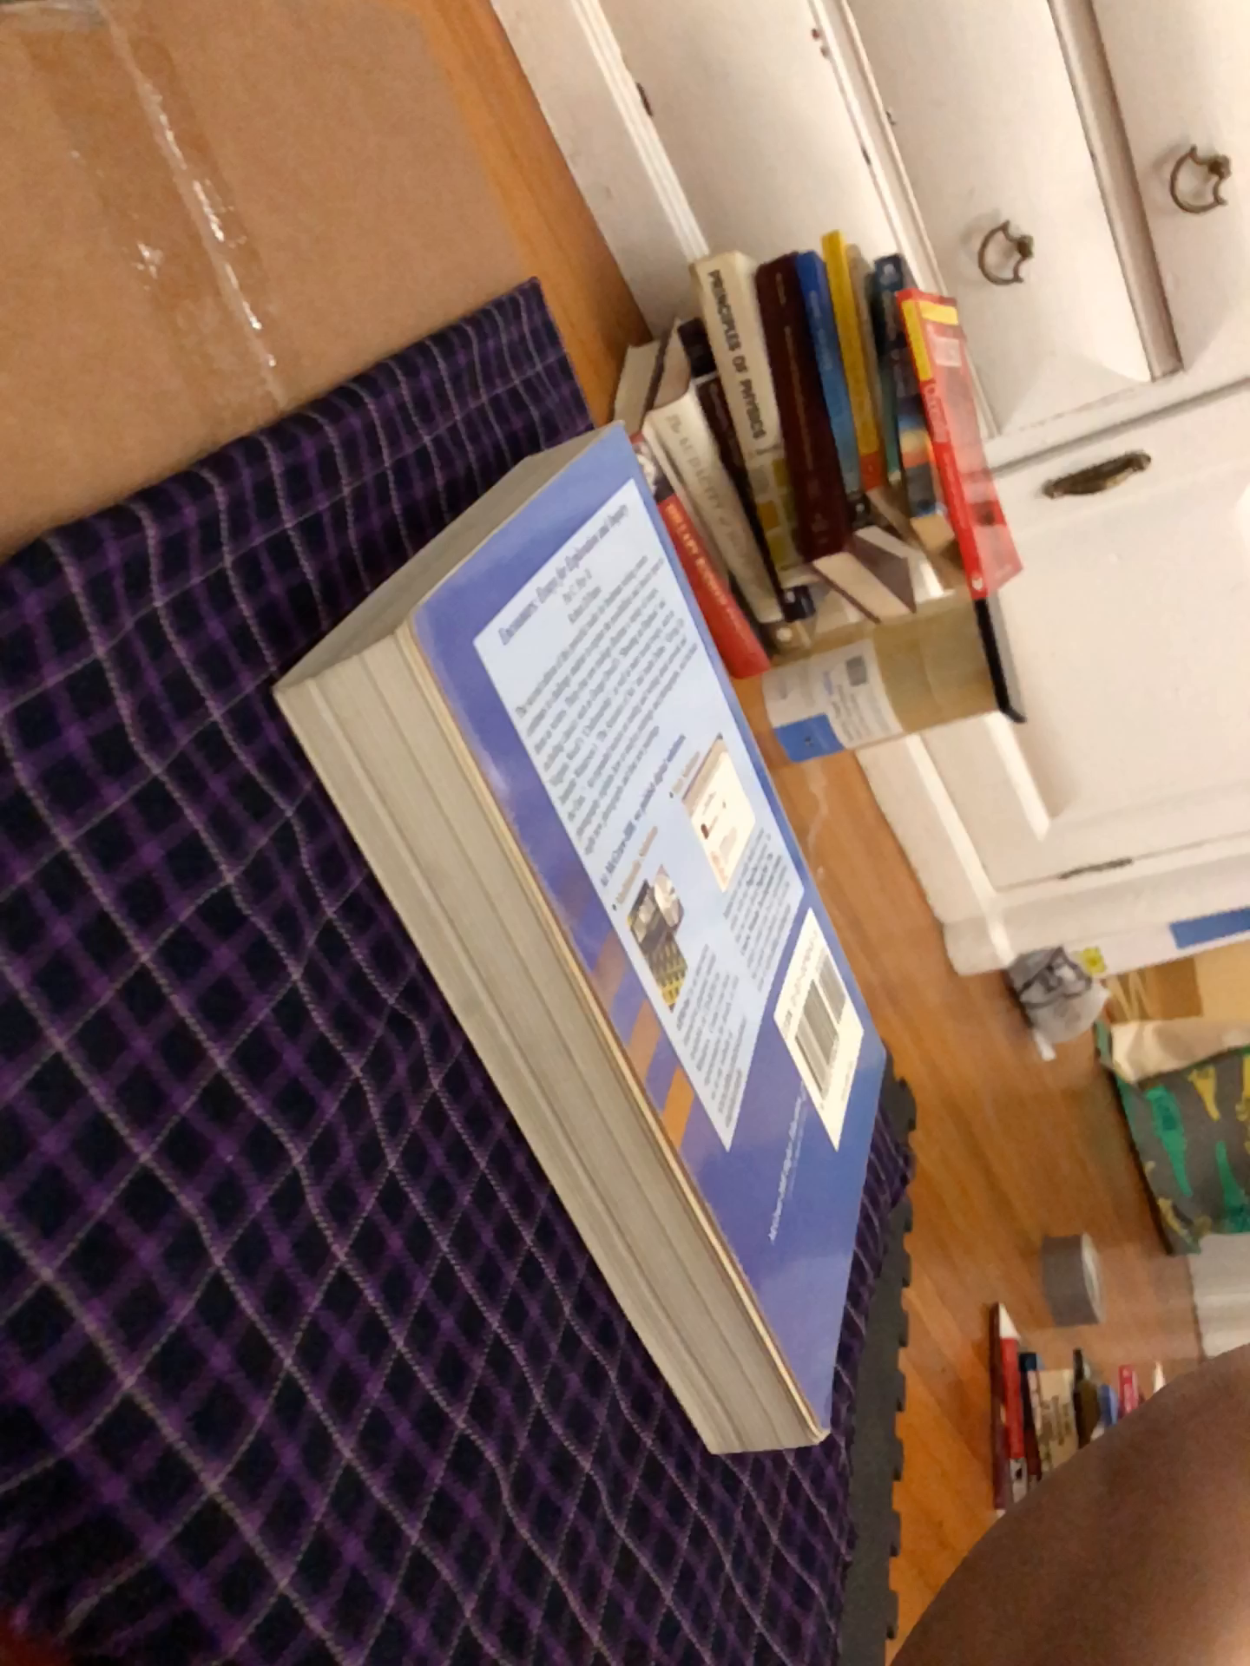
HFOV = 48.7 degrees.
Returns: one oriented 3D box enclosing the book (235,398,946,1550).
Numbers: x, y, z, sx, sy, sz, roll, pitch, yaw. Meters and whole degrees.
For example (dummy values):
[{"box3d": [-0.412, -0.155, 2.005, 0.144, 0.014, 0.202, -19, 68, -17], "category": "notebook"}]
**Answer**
[{"box3d": [0.020, 0.030, 0.364, 0.240, 0.040, 0.181, 63, 28, -23], "category": "book"}]
